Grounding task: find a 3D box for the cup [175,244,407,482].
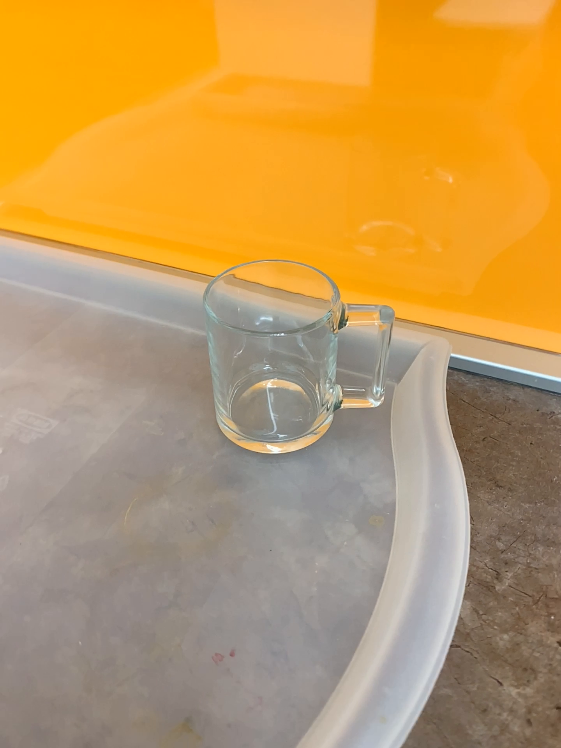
[{"bbox_3d":[0.007,-0.006,0.336,0.108,0.104,0.082,3,42,2],"label":"cup"}]
